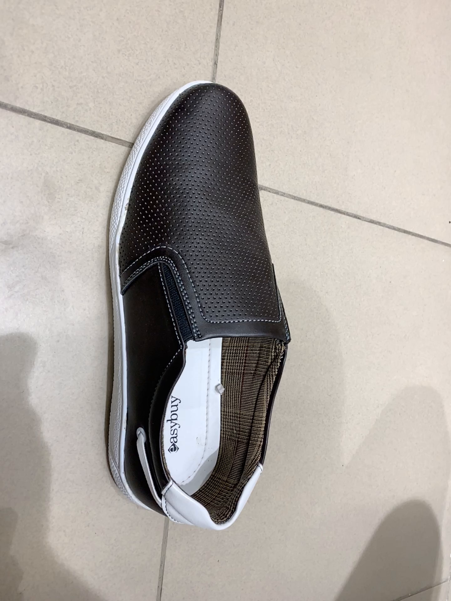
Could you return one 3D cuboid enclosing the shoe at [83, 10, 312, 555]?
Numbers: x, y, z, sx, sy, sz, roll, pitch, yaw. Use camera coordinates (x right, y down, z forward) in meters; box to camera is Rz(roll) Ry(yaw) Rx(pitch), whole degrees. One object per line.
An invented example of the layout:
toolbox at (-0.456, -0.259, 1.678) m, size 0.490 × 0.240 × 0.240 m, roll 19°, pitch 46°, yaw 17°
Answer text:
shoe at (-0.021, -0.009, 0.323) m, size 0.110 × 0.090 × 0.300 m, roll 4°, pitch 89°, yaw -34°
